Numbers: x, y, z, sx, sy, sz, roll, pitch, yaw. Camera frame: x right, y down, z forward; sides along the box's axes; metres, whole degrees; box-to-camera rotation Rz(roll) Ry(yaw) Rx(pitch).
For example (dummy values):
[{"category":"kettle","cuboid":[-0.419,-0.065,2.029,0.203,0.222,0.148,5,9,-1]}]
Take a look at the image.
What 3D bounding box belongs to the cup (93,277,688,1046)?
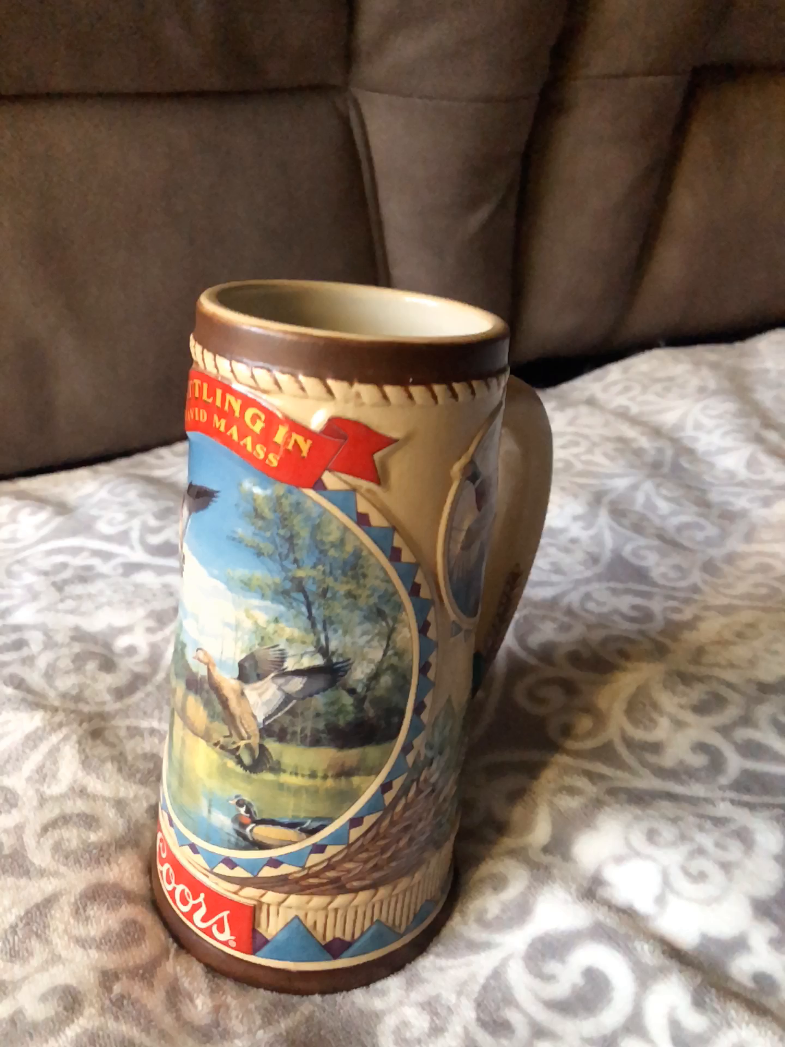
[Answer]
[{"category":"cup","cuboid":[-0.003,0.026,0.280,0.099,0.189,0.145,22,25,34]}]
